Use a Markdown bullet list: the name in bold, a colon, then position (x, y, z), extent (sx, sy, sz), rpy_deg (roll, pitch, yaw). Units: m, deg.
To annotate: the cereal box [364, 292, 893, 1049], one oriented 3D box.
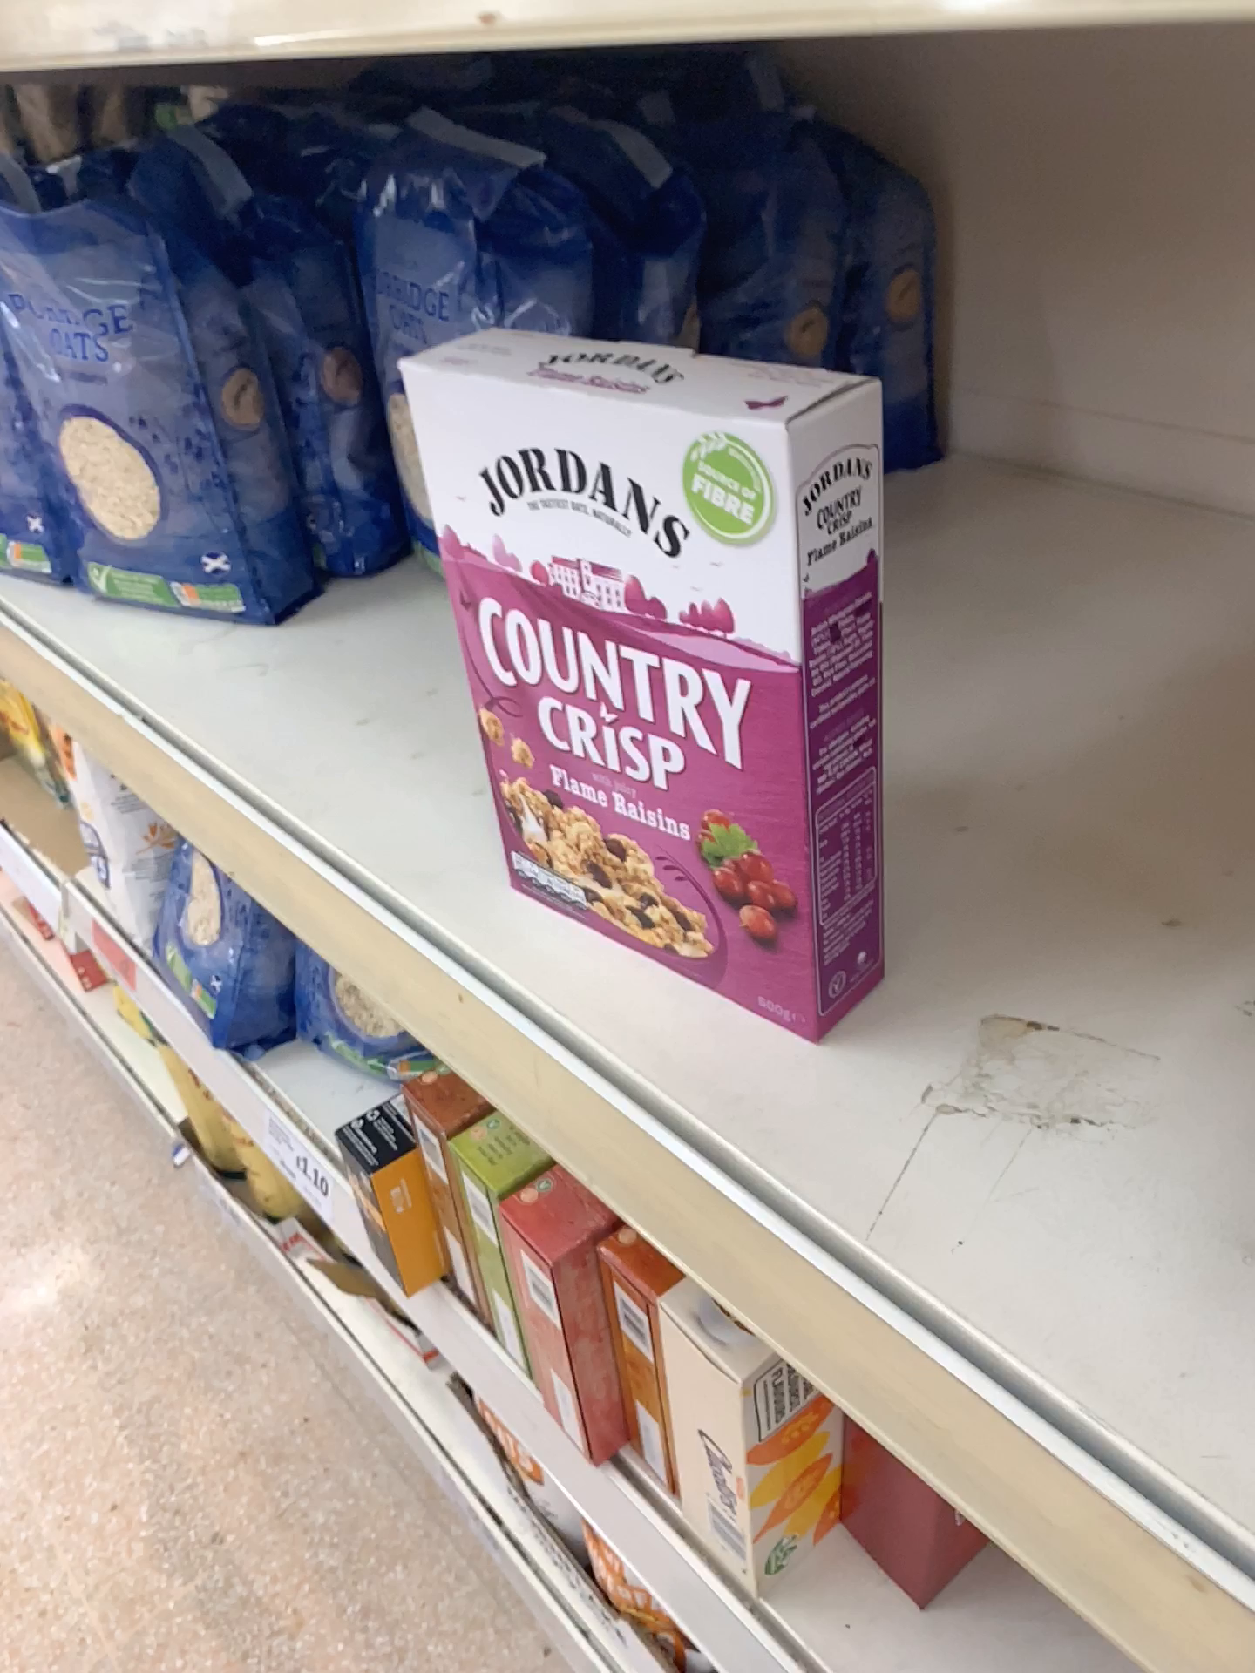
- **cereal box**: position (0.004, -0.064, 0.494), extent (0.191, 0.248, 0.050), rpy_deg (24, 45, 37)
